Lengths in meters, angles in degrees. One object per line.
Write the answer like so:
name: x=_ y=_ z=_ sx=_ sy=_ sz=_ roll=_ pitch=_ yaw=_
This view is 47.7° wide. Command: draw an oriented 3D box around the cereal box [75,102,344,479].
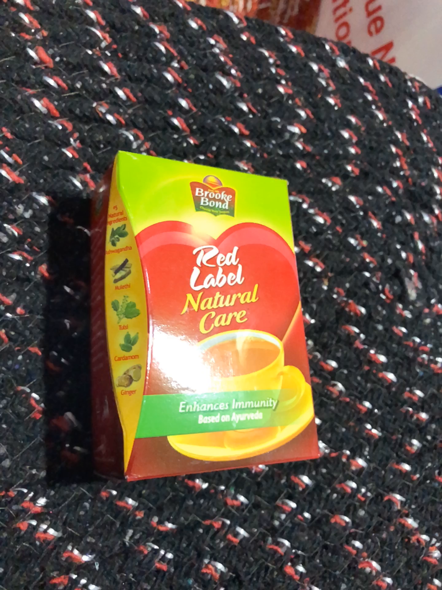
cereal box: x=-0.006 y=0.001 z=0.178 sx=0.080 sy=0.040 sz=0.110 roll=4 pitch=75 yaw=-30
